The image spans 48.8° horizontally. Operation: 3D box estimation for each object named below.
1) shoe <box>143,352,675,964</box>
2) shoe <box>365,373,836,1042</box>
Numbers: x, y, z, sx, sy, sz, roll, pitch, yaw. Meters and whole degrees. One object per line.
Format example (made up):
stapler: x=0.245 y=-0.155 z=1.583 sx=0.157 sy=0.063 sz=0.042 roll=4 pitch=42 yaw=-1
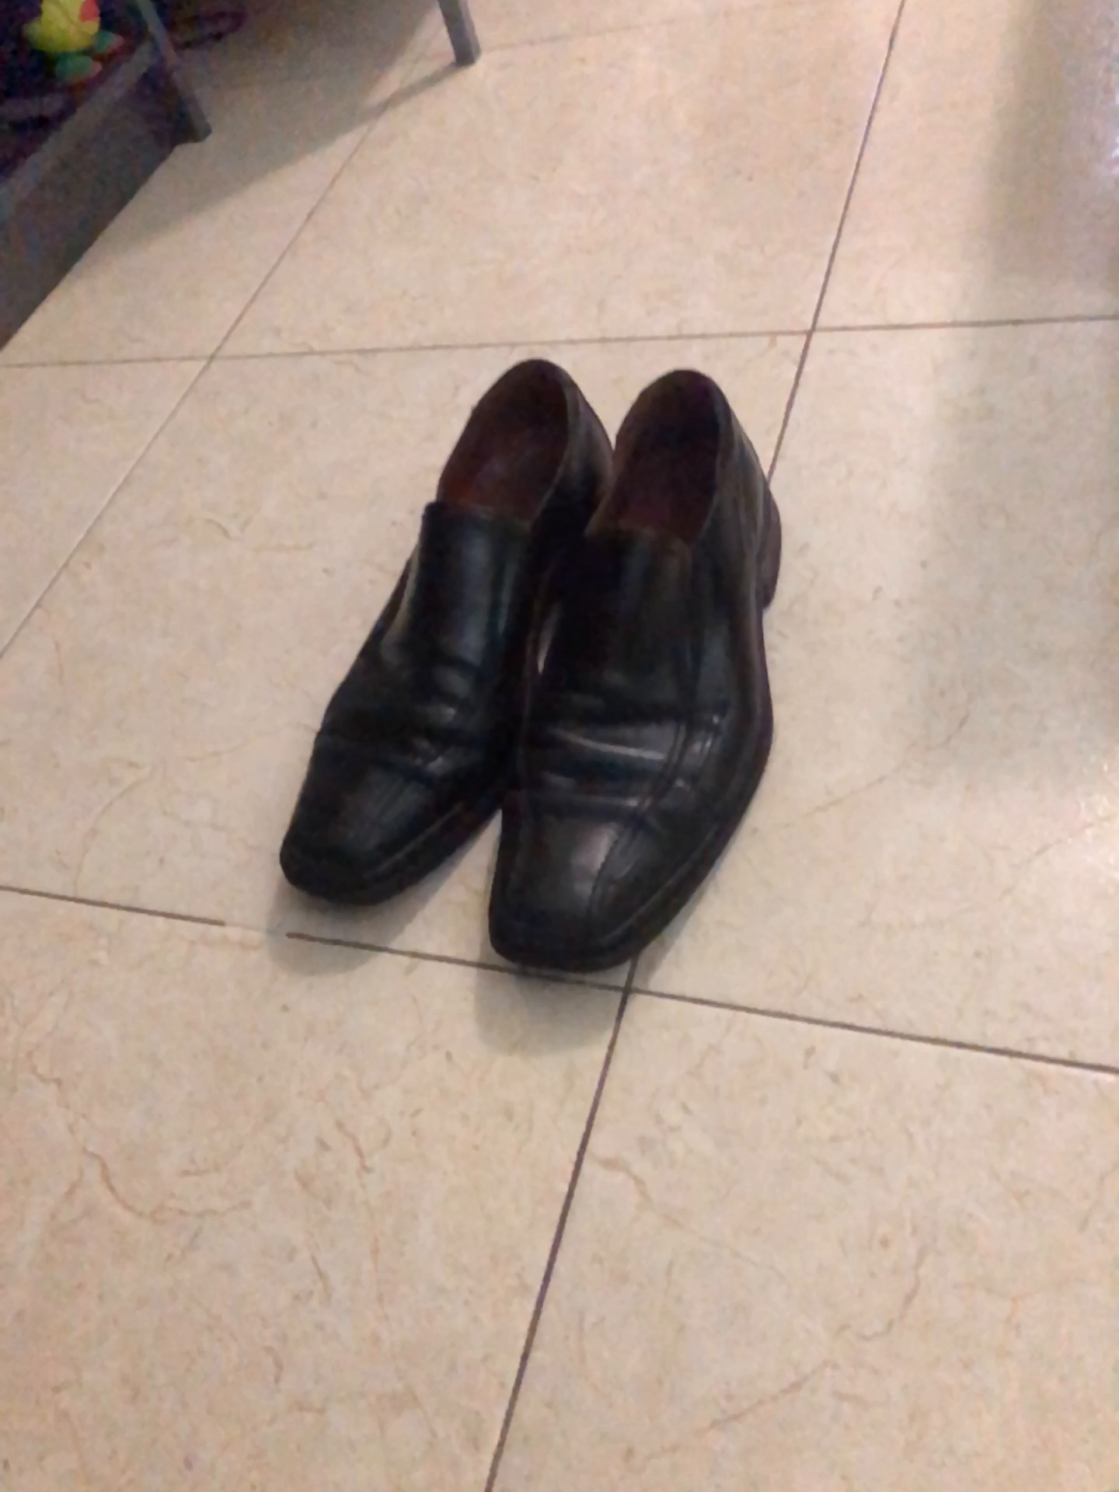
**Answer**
shoe: x=-0.056 y=-0.061 z=0.614 sx=0.120 sy=0.090 sz=0.311 roll=9 pitch=56 yaw=25
shoe: x=0.037 y=-0.036 z=0.570 sx=0.120 sy=0.090 sz=0.311 roll=5 pitch=54 yaw=22
